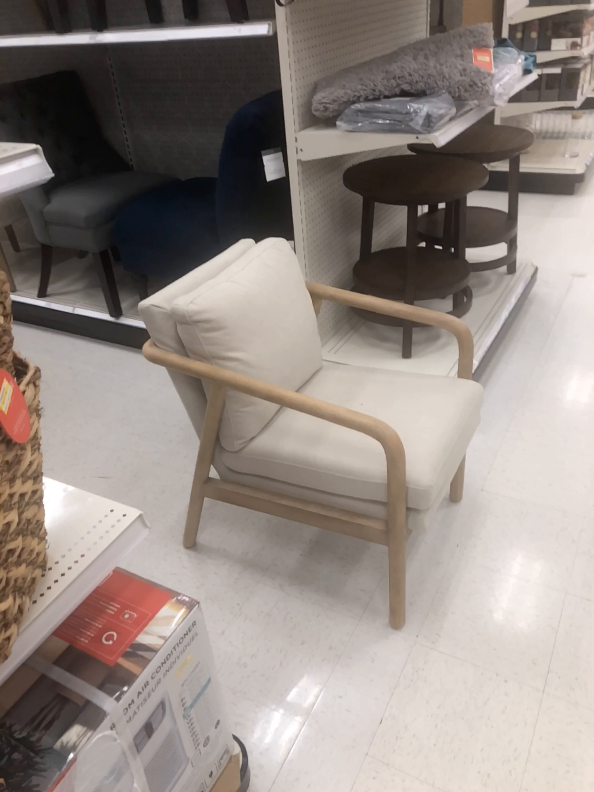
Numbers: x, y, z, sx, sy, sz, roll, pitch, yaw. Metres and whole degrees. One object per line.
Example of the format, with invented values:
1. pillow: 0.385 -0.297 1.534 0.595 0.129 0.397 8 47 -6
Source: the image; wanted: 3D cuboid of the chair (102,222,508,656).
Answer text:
1. chair: 0.061 0.059 1.721 0.761 0.806 0.583 13 37 27
